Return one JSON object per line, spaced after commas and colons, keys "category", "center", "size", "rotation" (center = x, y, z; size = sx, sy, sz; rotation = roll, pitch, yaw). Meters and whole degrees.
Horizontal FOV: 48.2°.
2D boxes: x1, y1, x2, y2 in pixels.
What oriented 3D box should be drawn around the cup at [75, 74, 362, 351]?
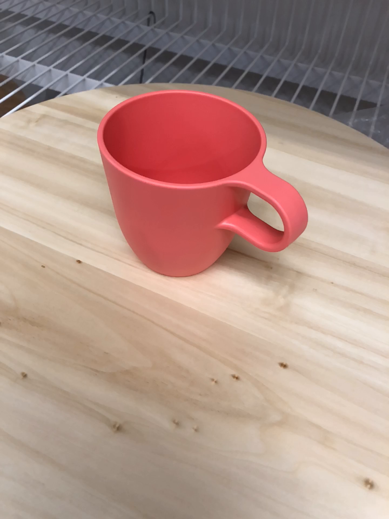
{"category": "cup", "center": [0.009, -0.030, 0.234], "size": [0.110, 0.080, 0.080], "rotation": [34, 53, 24]}
